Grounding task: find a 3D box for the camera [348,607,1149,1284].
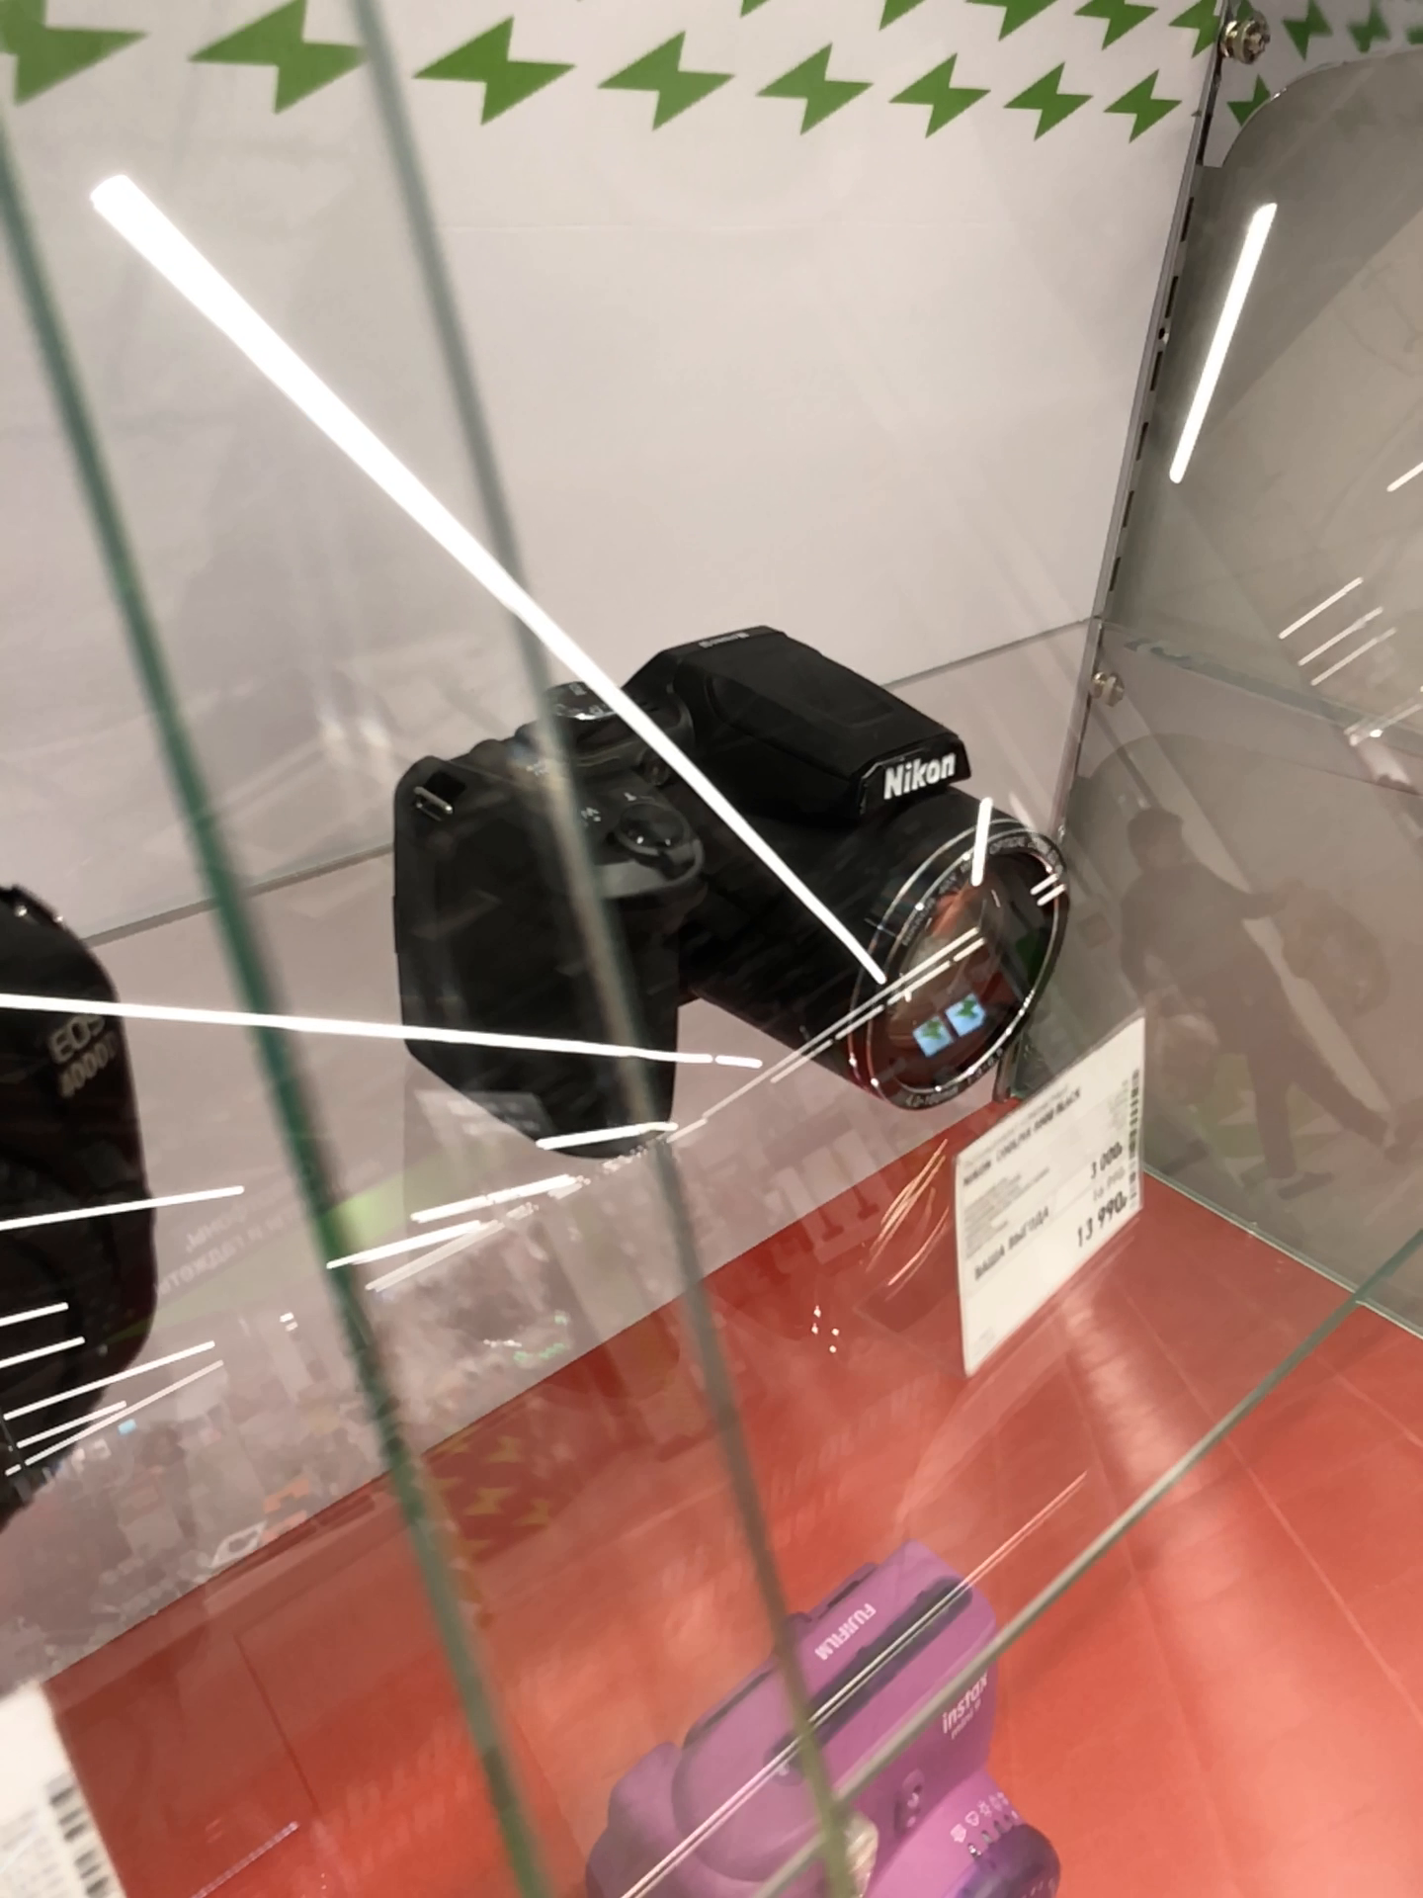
[{"bbox_3d":[0.006,-0.011,0.313,0.115,0.070,0.100,-22,39,-38],"label":"camera"}]
